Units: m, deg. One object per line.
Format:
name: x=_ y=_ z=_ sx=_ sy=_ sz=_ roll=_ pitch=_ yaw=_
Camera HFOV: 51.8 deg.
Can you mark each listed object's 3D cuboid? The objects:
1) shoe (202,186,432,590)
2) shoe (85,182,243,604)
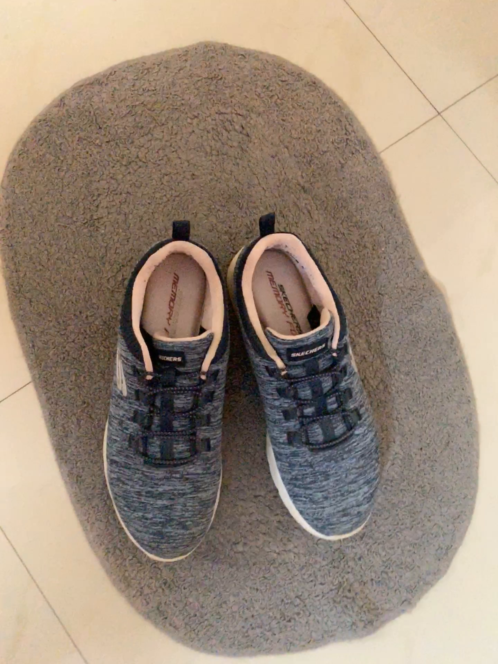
shoe: x=0.044 y=0.040 z=0.439 sx=0.100 sy=0.100 sz=0.290 roll=-14 pitch=80 yaw=-5
shoe: x=-0.056 y=0.039 z=0.383 sx=0.090 sy=0.100 sz=0.270 roll=2 pitch=78 yaw=-6
